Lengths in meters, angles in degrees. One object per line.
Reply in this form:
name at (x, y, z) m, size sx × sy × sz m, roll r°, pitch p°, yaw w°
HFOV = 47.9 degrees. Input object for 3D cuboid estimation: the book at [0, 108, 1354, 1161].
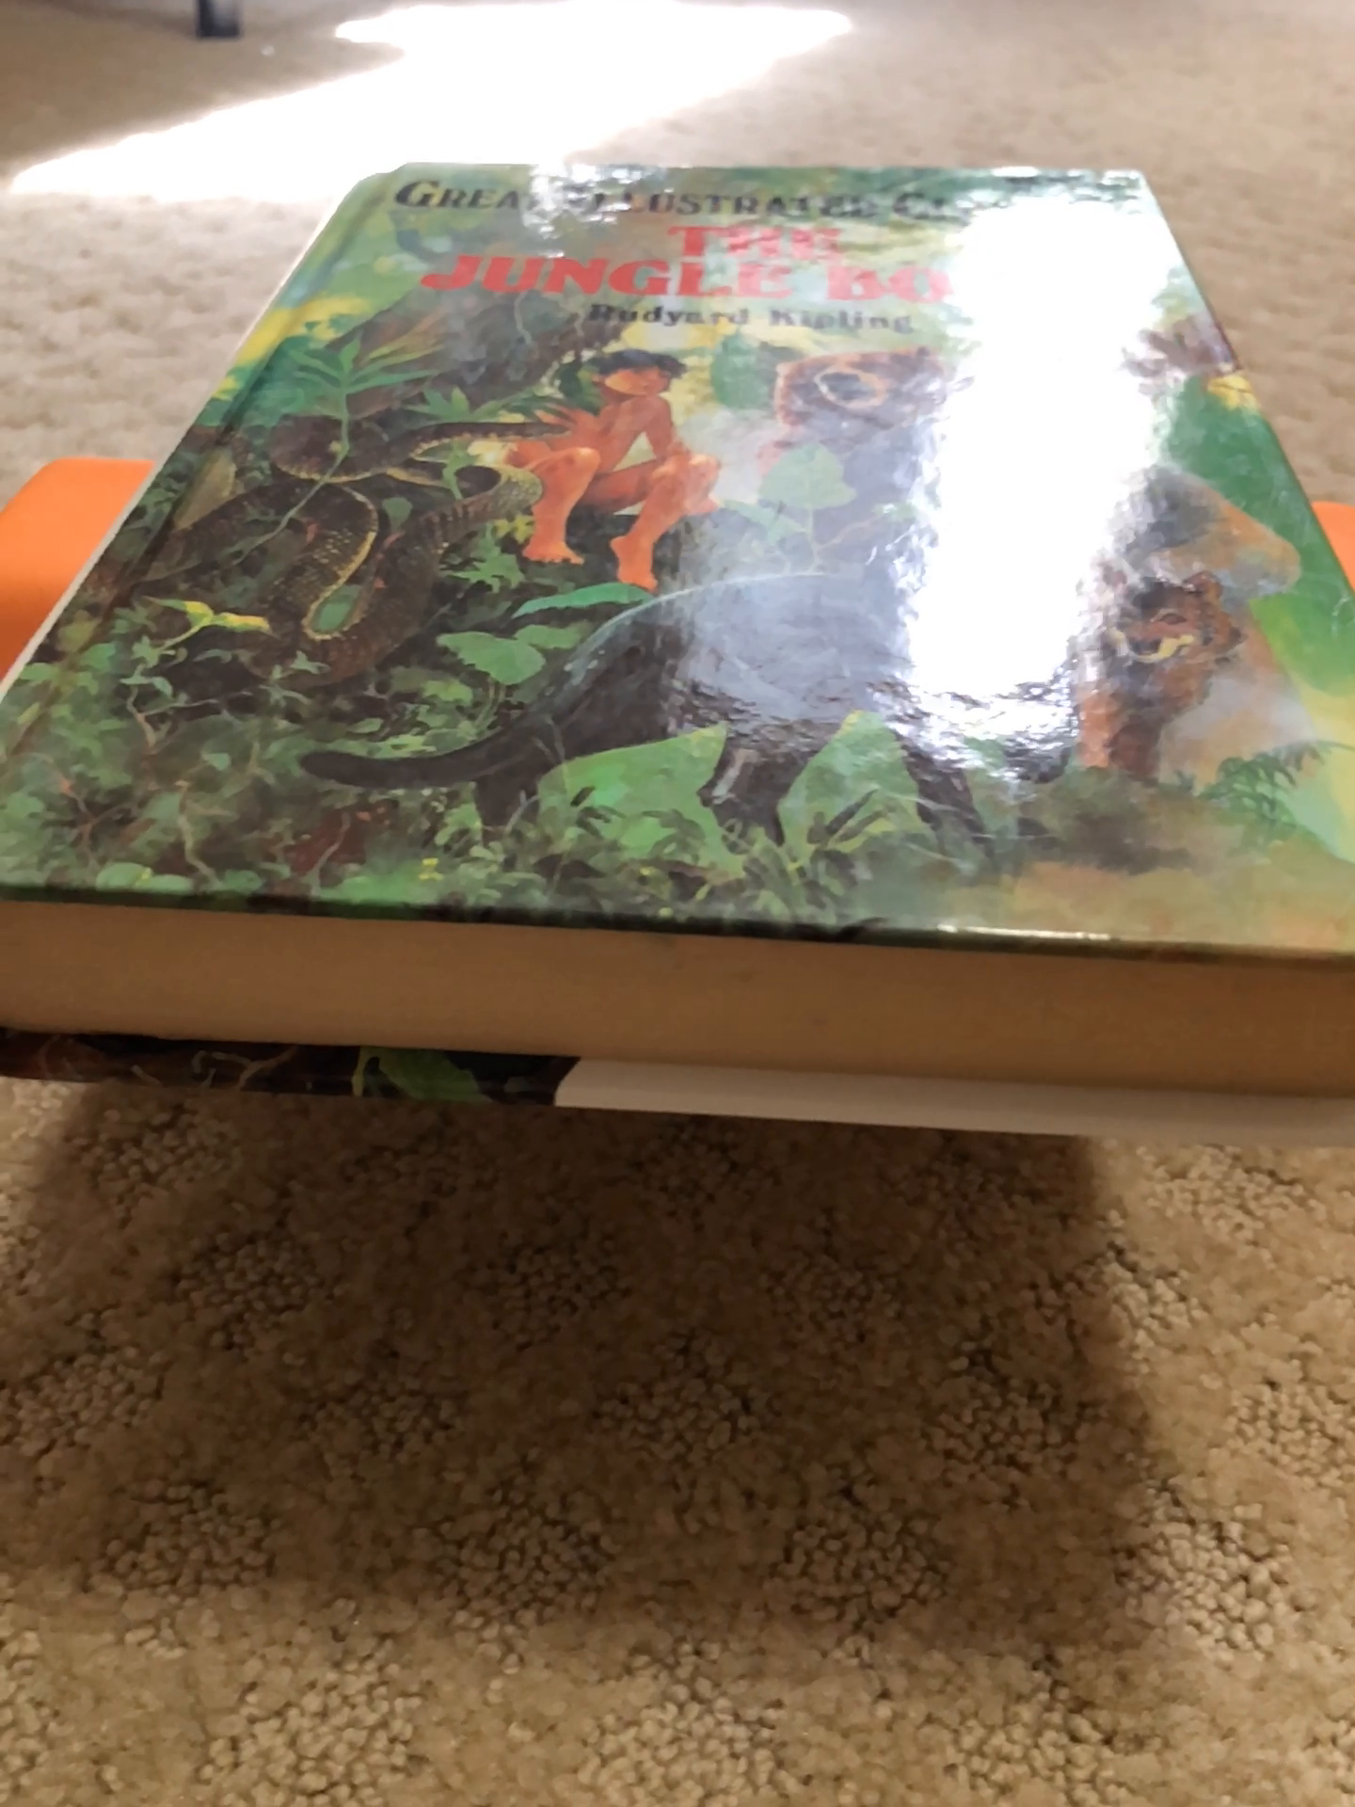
book at (0.008, -0.061, 0.211) m, size 0.140 × 0.029 × 0.209 m, roll 3°, pitch 43°, yaw 2°
